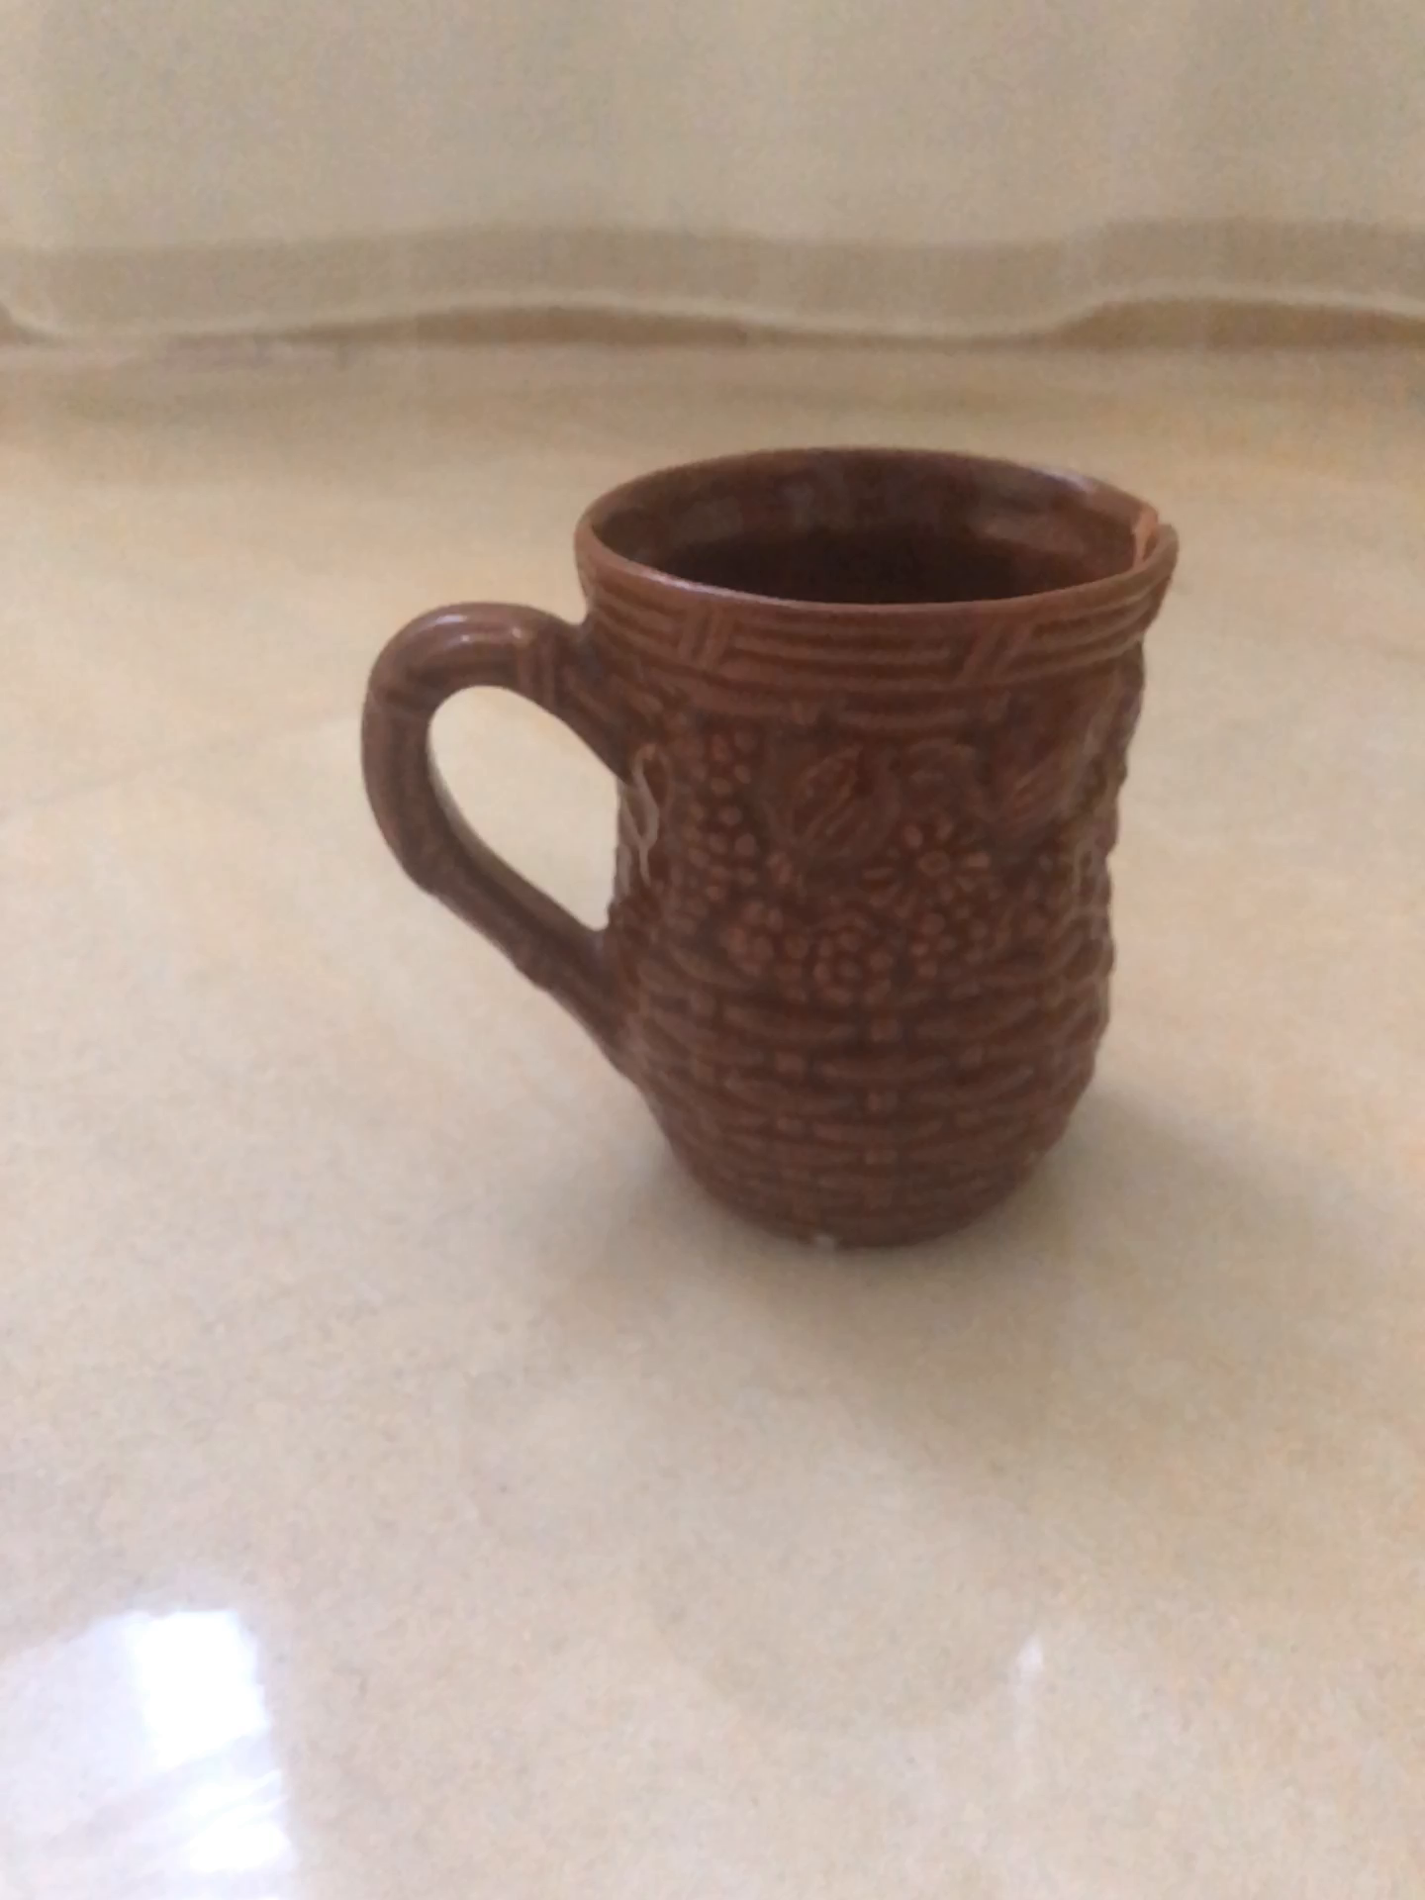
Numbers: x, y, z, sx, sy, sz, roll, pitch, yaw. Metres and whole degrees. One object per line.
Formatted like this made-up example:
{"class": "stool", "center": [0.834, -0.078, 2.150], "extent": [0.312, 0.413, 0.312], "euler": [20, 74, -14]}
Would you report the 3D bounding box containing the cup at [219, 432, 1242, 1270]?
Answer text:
{"class": "cup", "center": [0.006, -0.018, 0.213], "extent": [0.104, 0.081, 0.073], "euler": [4, 30, 8]}
